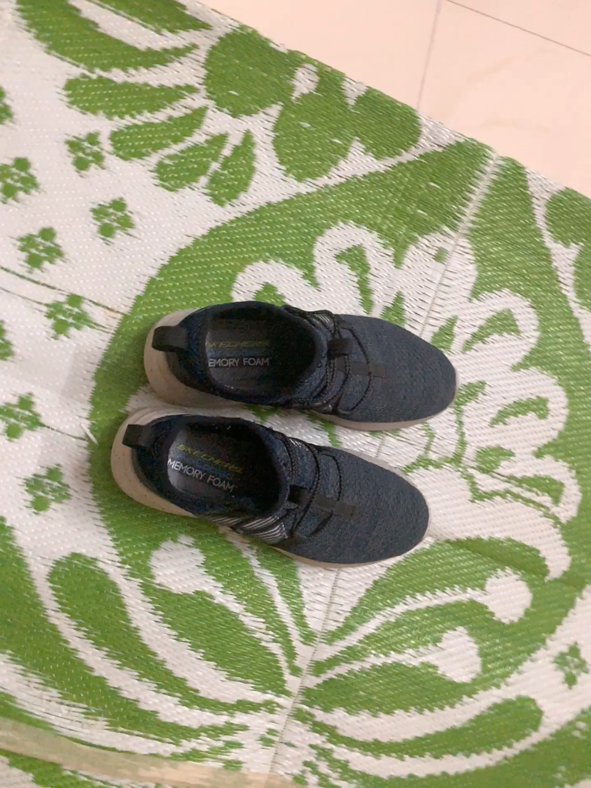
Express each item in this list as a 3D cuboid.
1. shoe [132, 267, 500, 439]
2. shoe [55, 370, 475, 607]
[{"bbox_3d":[0.016,-0.024,0.520,0.290,0.100,0.110,4,85,-12],"label":"shoe"},{"bbox_3d":[-0.021,0.079,0.502,0.300,0.100,0.110,15,82,-11],"label":"shoe"}]
